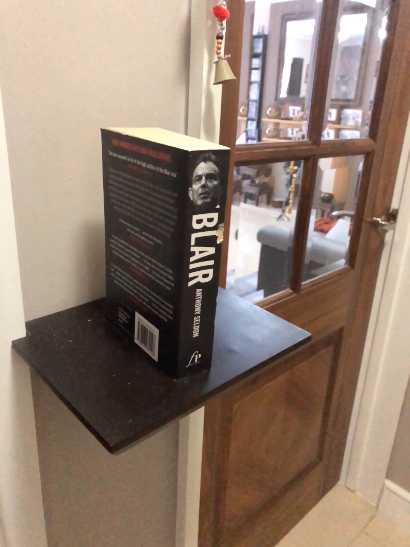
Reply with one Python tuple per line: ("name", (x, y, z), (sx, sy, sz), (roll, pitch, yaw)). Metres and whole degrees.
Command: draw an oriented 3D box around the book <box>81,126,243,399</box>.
("book", (-0.050, -0.023, 0.429), (0.060, 0.209, 0.171), (-12, 25, -35))
